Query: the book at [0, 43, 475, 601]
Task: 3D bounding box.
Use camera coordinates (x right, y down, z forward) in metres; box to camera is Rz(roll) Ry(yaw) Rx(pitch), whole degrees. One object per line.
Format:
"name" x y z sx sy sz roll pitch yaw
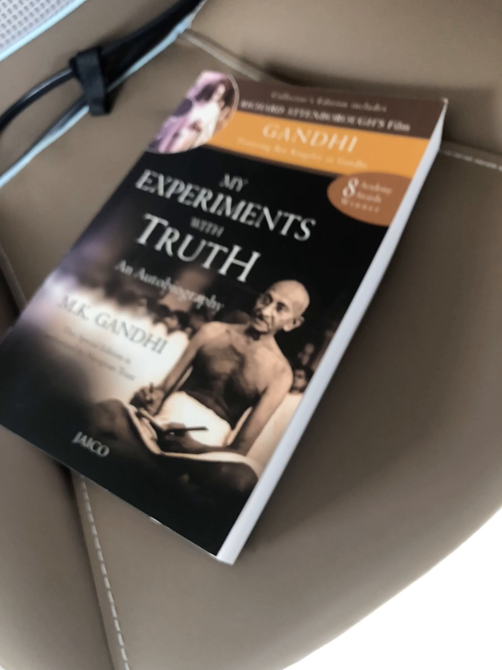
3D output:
"book" -0.013 -0.027 0.277 0.150 0.050 0.240 23 72 23
